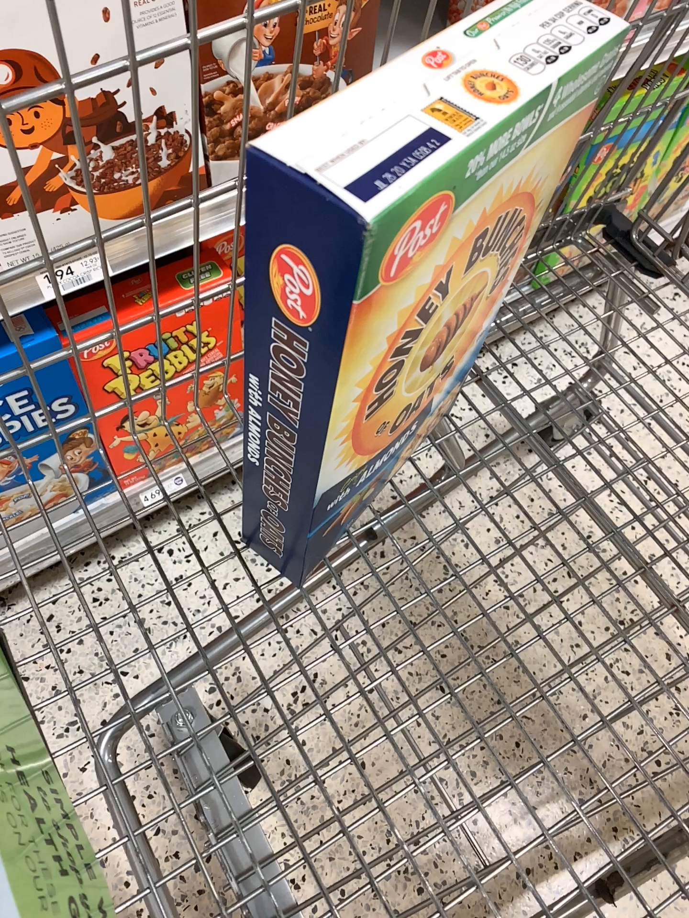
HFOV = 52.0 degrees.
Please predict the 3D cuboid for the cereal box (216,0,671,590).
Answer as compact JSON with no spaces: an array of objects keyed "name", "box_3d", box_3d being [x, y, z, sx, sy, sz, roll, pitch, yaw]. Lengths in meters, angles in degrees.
[{"name":"cereal box","box_3d":[0.030,-0.072,0.395,0.060,0.308,0.211,39,62,14]}]
